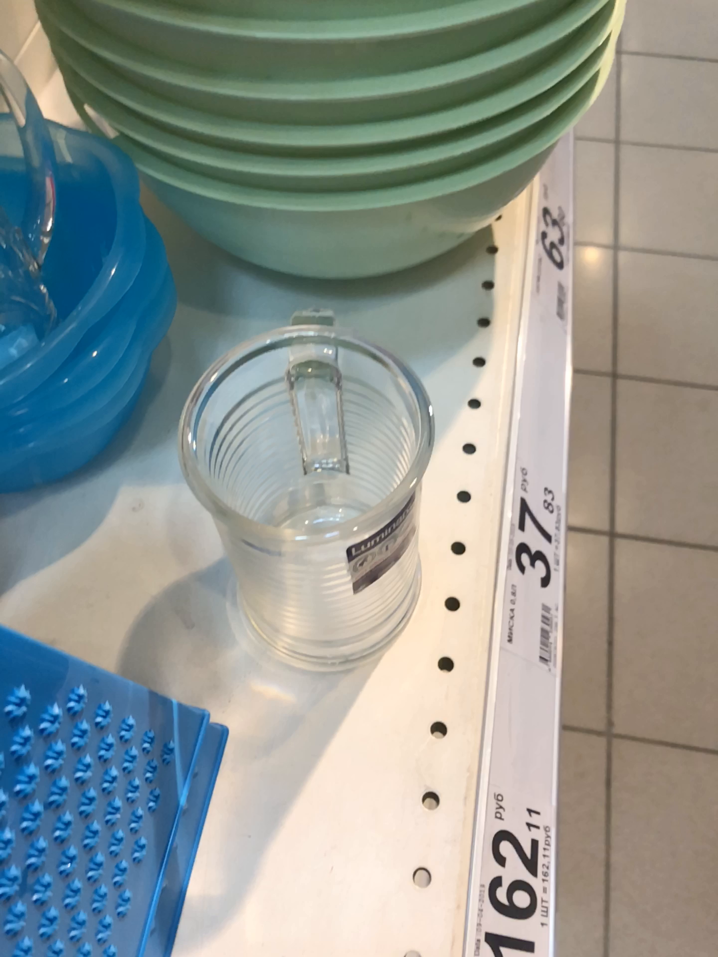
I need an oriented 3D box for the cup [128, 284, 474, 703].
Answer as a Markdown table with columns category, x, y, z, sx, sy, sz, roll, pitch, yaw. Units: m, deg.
| category | x | y | z | sx | sy | sz | roll | pitch | yaw |
| --- | --- | --- | --- | --- | --- | --- | --- | --- | --- |
| cup | -0.012 | 0.010 | 0.278 | 0.087 | 0.104 | 0.102 | 5 | 61 | 4 |
